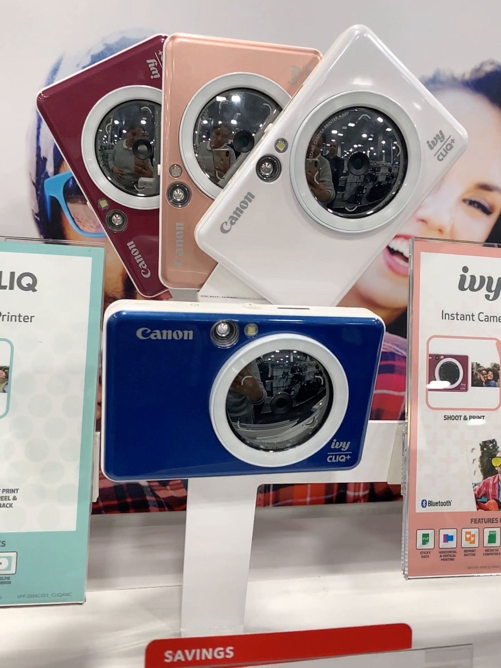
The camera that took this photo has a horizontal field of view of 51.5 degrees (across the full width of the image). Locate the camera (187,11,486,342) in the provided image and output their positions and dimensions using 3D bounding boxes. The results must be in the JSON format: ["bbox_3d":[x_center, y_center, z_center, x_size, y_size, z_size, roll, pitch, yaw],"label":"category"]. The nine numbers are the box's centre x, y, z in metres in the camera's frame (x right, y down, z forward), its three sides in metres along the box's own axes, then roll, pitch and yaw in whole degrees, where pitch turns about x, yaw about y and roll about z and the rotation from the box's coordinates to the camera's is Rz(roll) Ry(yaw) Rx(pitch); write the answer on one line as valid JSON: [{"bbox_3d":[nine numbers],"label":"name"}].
[{"bbox_3d":[0.038,-0.068,0.246,0.078,0.120,0.028,36,8,-18],"label":"camera"}]

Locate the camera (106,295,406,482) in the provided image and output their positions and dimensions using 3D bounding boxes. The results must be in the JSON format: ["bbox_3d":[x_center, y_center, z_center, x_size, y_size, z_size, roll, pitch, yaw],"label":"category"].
[{"bbox_3d":[0.000,0.022,0.226,0.120,0.070,0.028,0,20,-13],"label":"camera"}]

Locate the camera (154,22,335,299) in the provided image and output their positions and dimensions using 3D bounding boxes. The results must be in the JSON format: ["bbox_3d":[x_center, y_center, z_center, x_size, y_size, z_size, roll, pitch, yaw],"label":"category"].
[{"bbox_3d":[-0.007,-0.080,0.260,0.078,0.120,0.028,0,19,-13],"label":"camera"}]

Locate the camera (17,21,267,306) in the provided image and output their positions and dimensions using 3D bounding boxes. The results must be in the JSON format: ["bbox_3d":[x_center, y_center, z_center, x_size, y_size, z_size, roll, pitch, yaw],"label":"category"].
[{"bbox_3d":[-0.050,-0.082,0.265,0.078,0.110,0.028,-26,25,-3],"label":"camera"}]
